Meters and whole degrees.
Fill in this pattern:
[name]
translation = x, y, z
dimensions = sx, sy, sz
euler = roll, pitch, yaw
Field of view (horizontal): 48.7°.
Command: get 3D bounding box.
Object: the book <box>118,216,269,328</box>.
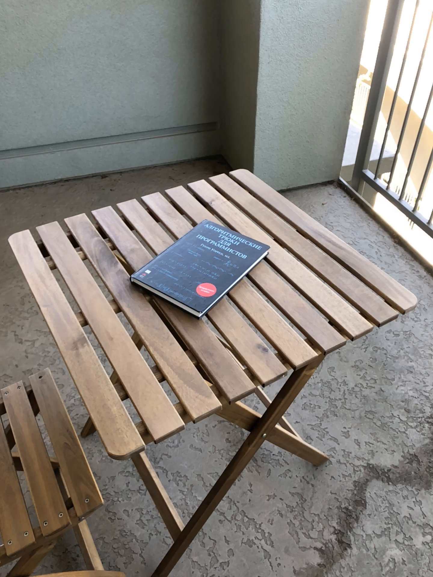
[book]
translation = -0.040, -0.046, 0.947
dimensions = 0.180, 0.030, 0.251
euler = 25, 48, 26
